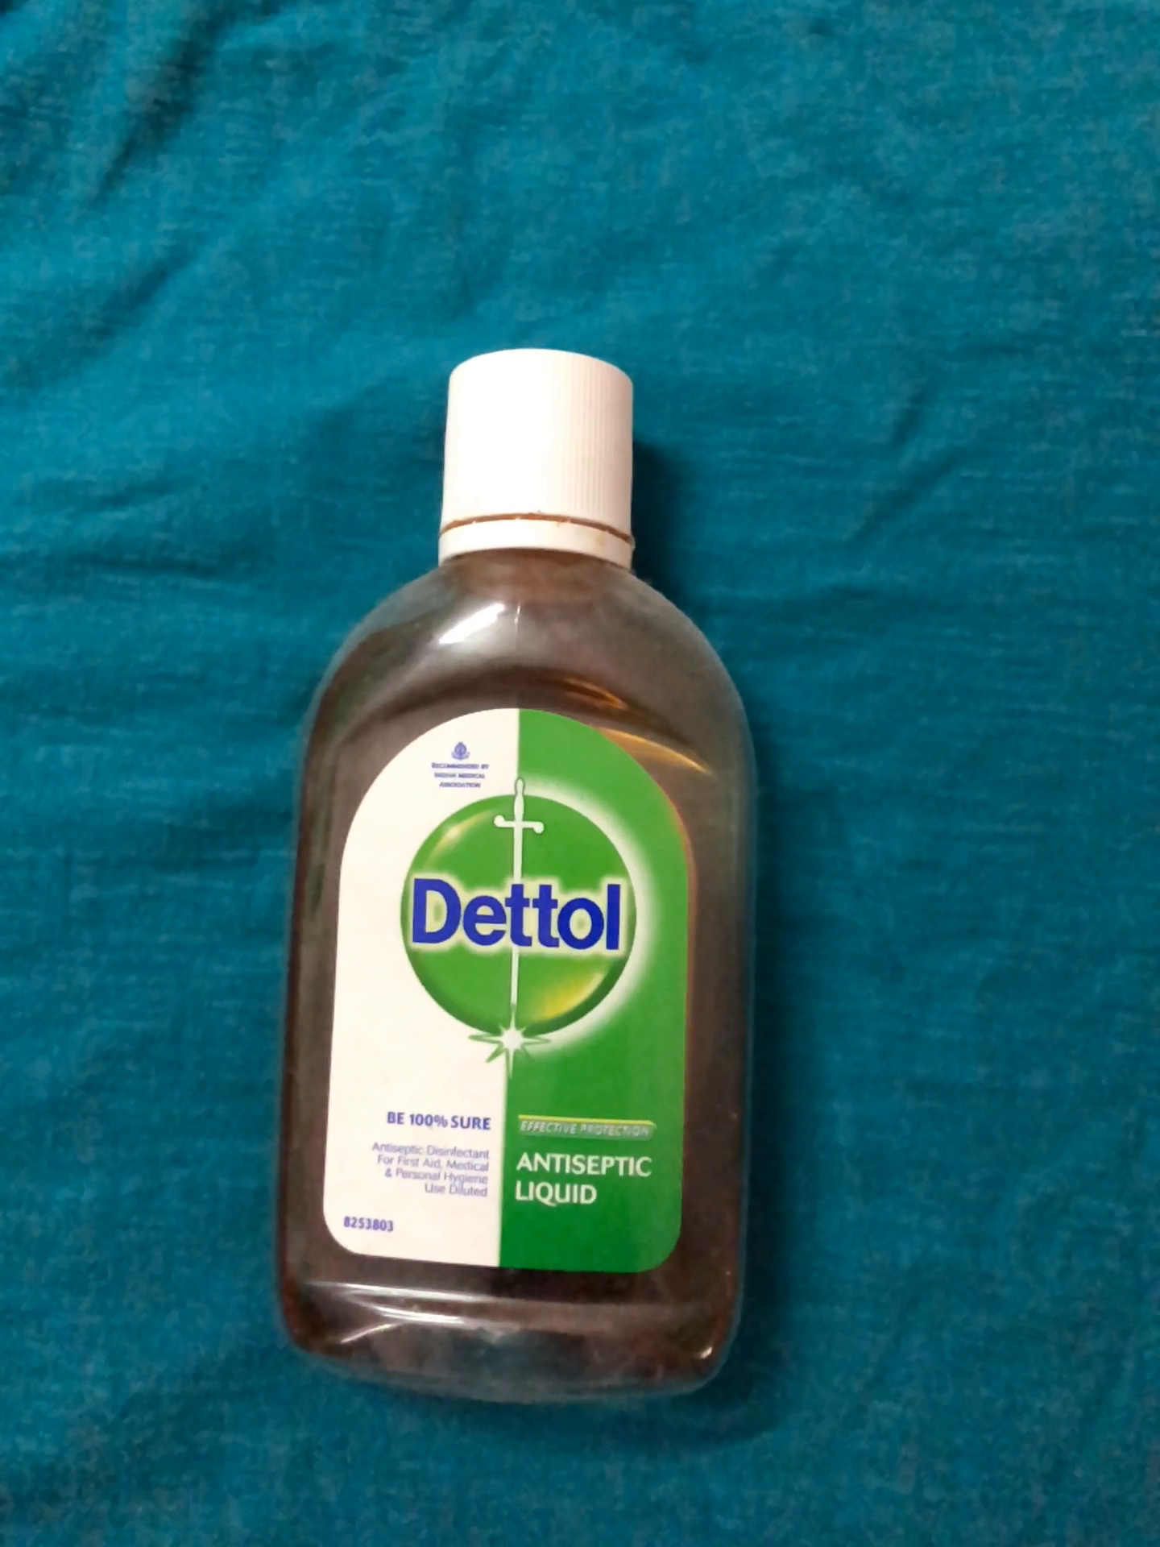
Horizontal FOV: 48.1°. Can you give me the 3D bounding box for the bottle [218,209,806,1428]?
[{"bbox_3d":[-0.008,0.004,0.214,0.080,0.040,0.180,2,83,1],"label":"bottle"}]
